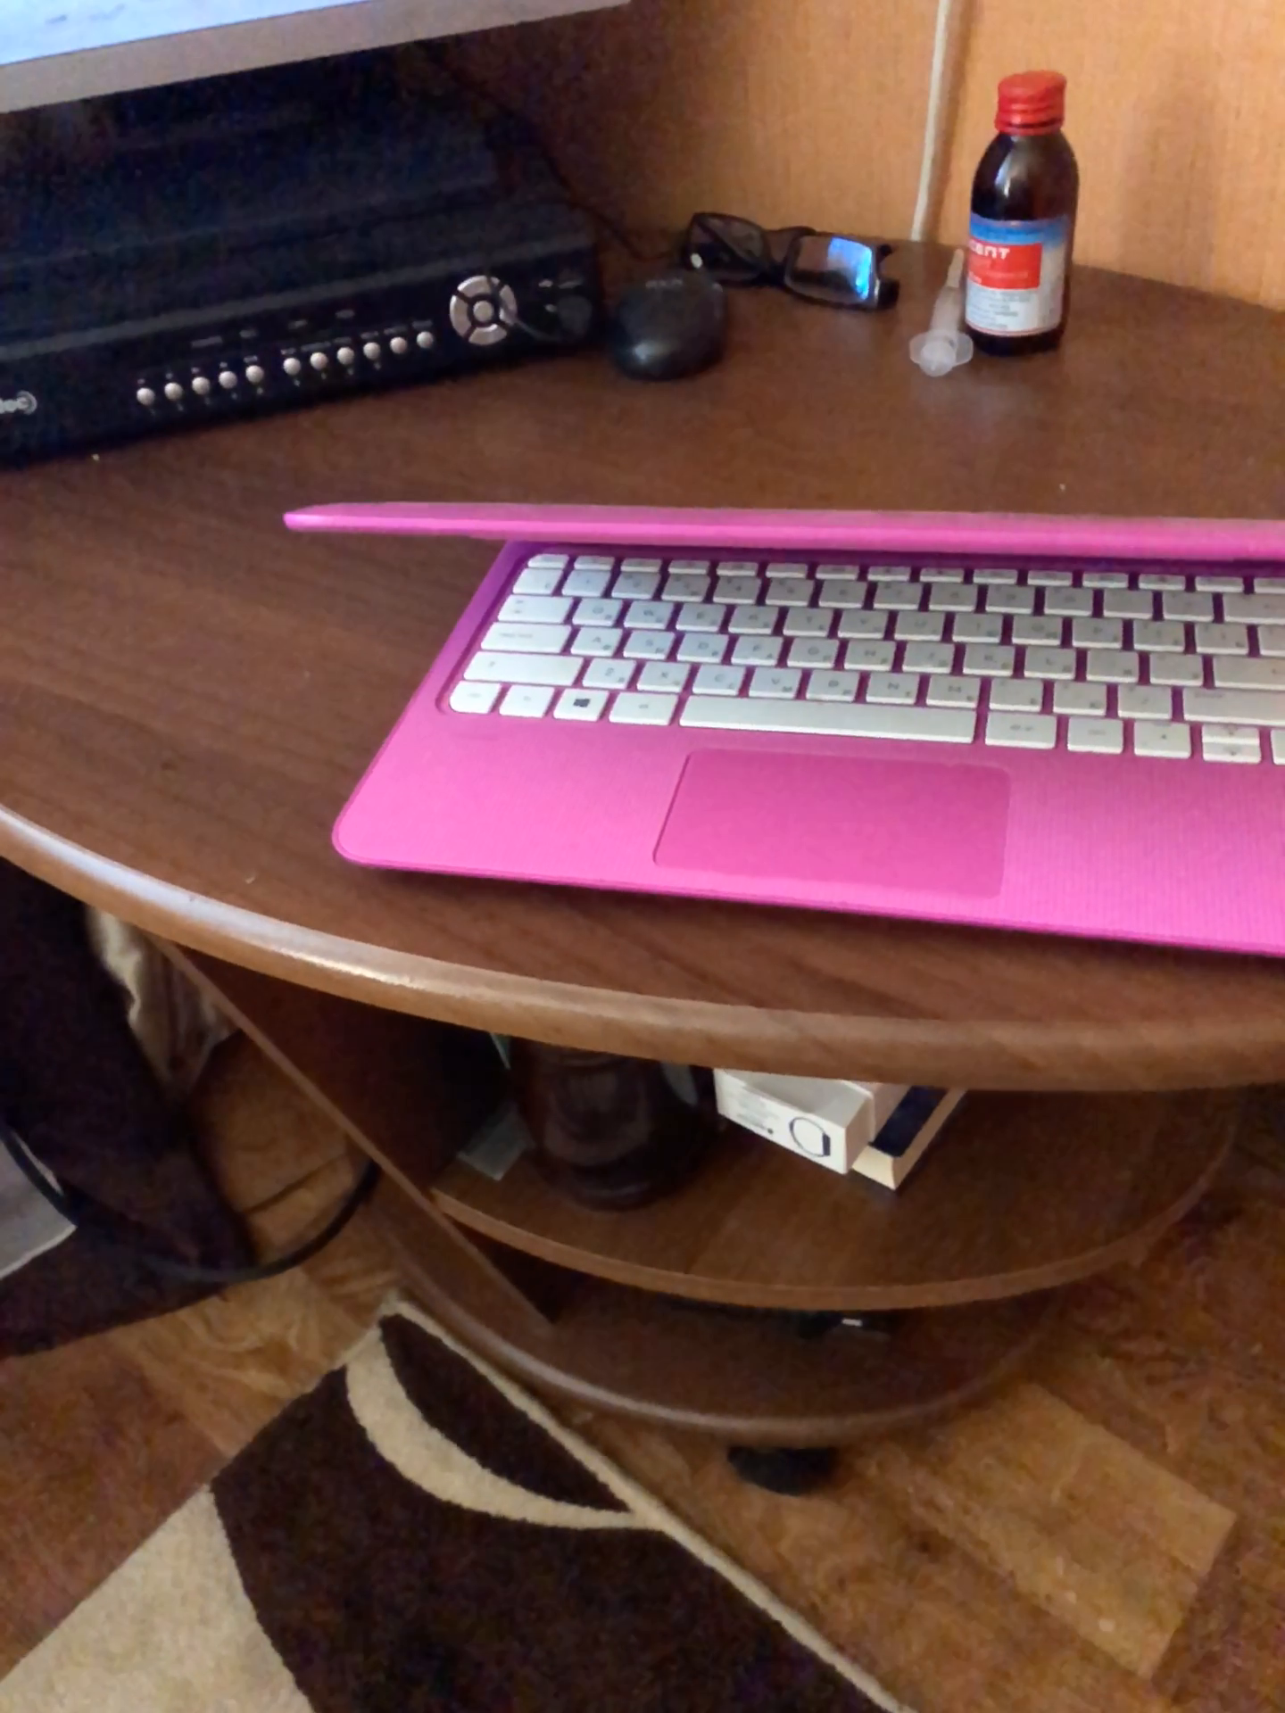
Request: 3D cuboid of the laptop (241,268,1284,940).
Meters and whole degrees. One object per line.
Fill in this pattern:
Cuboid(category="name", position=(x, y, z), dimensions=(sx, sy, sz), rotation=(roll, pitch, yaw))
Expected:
Cuboid(category="laptop", position=(0.061, -0.084, 0.389), dimensions=(0.264, 0.081, 0.187), rotation=(5, 42, 14))
